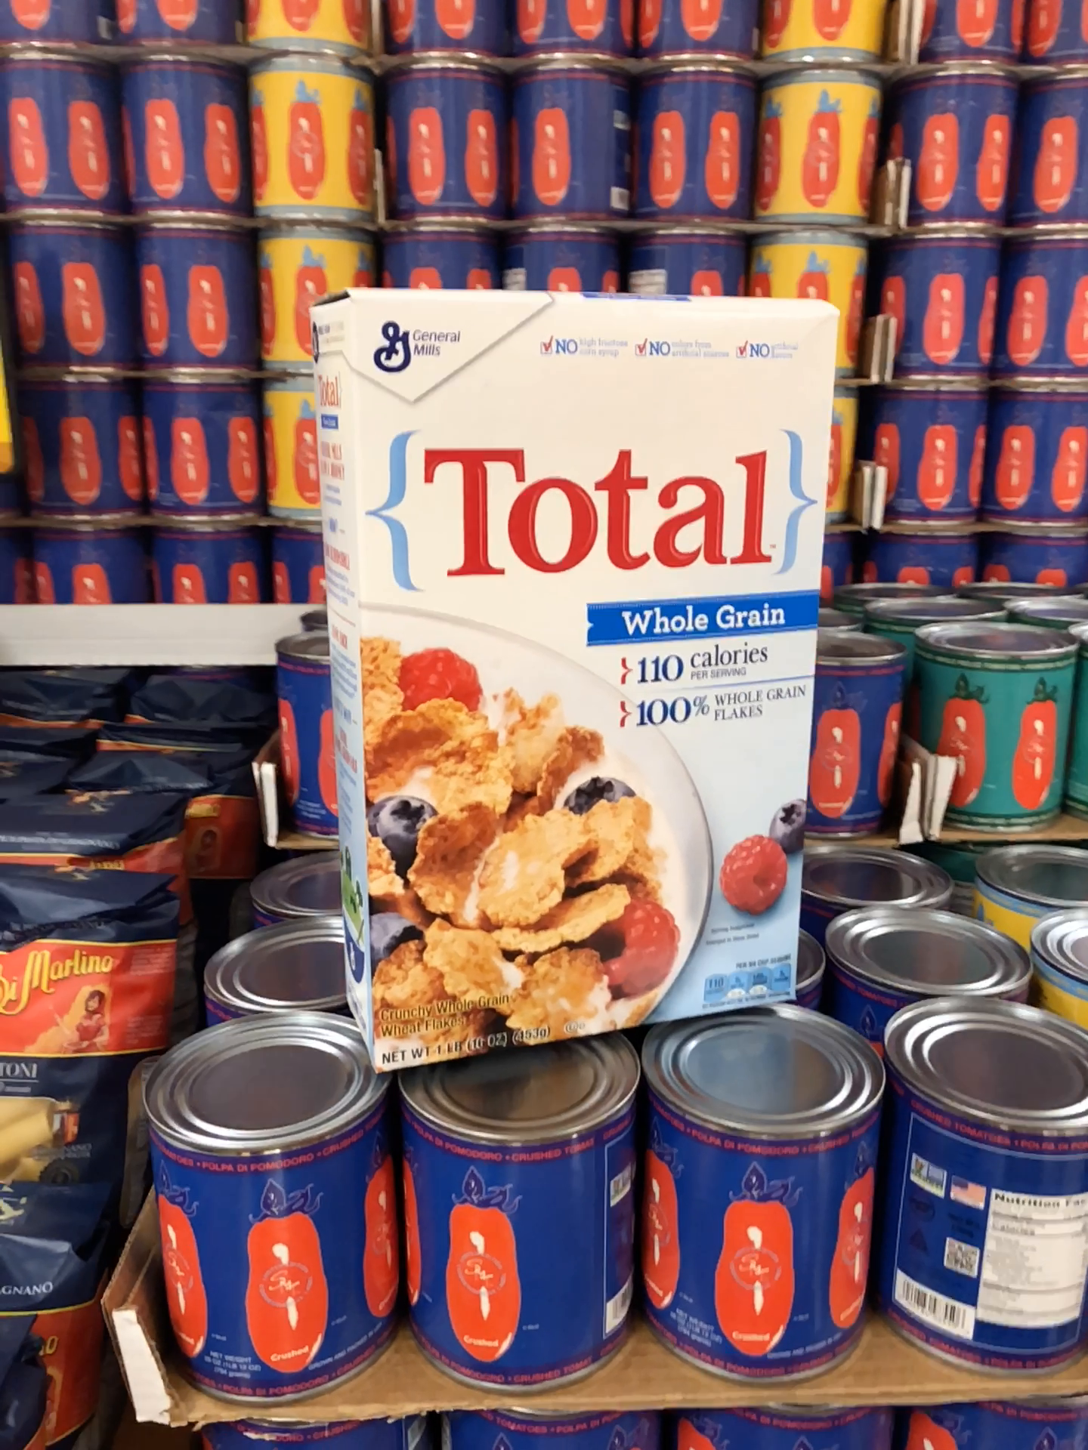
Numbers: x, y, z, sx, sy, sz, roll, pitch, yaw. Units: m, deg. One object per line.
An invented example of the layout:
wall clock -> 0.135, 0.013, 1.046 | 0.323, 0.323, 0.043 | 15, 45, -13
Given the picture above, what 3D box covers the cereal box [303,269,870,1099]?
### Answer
cereal box -> 0.017, -0.019, 0.502 | 0.210, 0.309, 0.070 | -5, 14, -19
